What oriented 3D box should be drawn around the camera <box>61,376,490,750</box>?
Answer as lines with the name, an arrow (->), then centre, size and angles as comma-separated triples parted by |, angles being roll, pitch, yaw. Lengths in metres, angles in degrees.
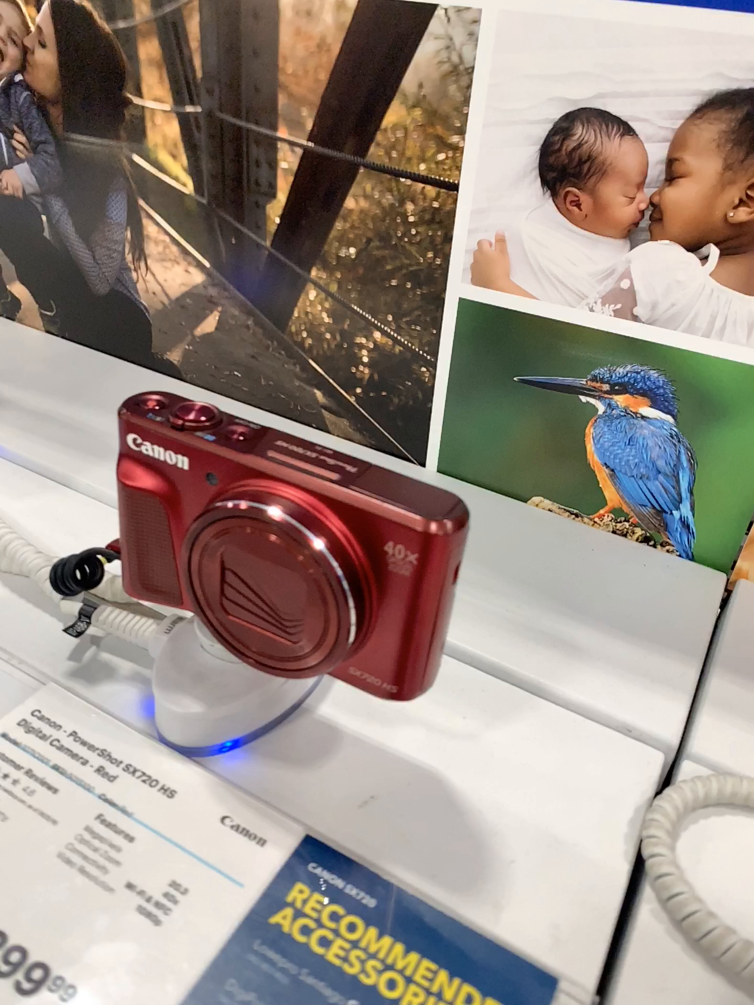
camera -> -0.031, 0.013, 0.220 | 0.110, 0.060, 0.037 | 21, 33, 19
